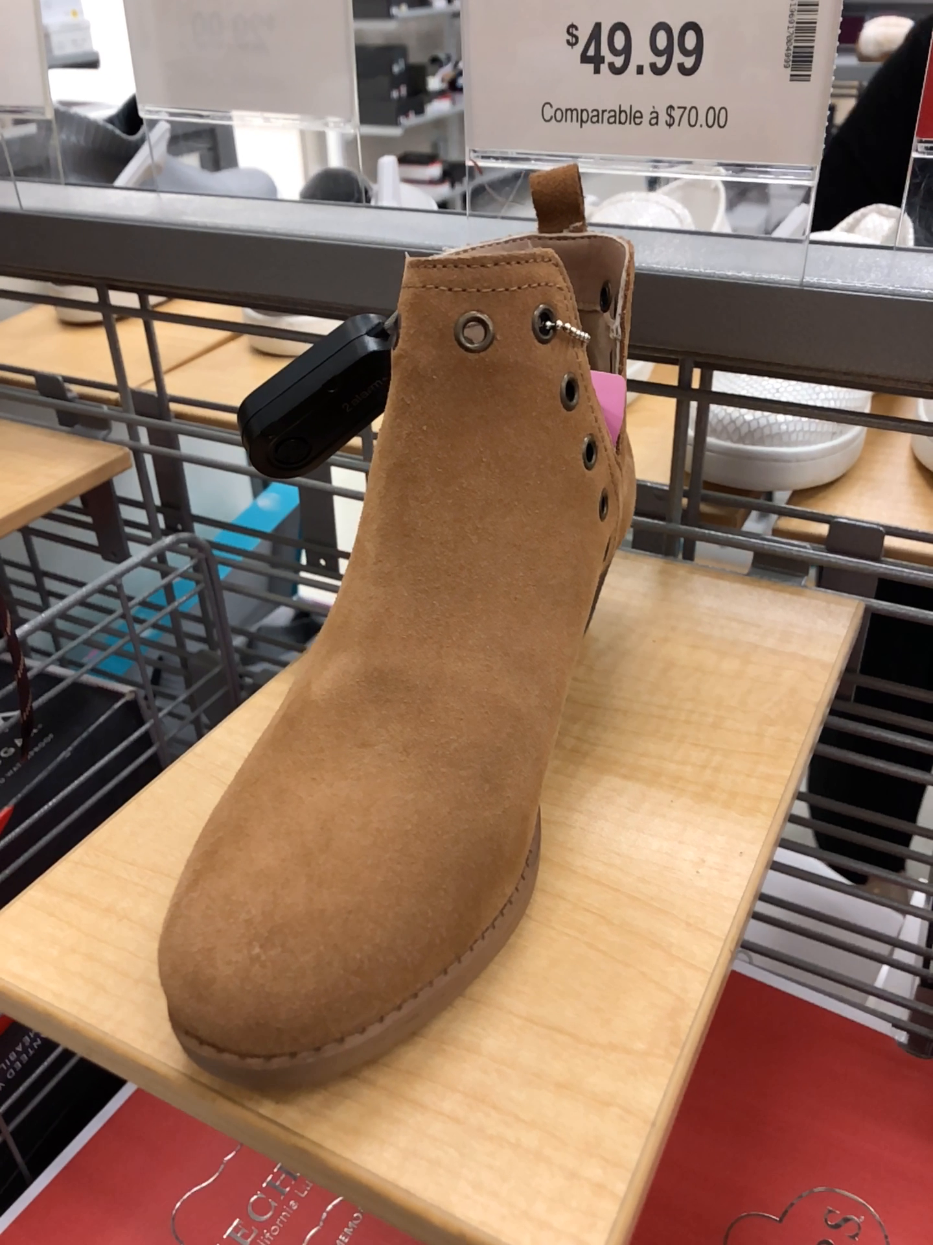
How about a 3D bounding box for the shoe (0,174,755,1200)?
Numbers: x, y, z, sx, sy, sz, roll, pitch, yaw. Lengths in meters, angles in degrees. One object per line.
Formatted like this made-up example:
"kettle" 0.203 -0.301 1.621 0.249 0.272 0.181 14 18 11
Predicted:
"shoe" -0.003 -0.026 0.284 0.092 0.129 0.282 12 36 21
